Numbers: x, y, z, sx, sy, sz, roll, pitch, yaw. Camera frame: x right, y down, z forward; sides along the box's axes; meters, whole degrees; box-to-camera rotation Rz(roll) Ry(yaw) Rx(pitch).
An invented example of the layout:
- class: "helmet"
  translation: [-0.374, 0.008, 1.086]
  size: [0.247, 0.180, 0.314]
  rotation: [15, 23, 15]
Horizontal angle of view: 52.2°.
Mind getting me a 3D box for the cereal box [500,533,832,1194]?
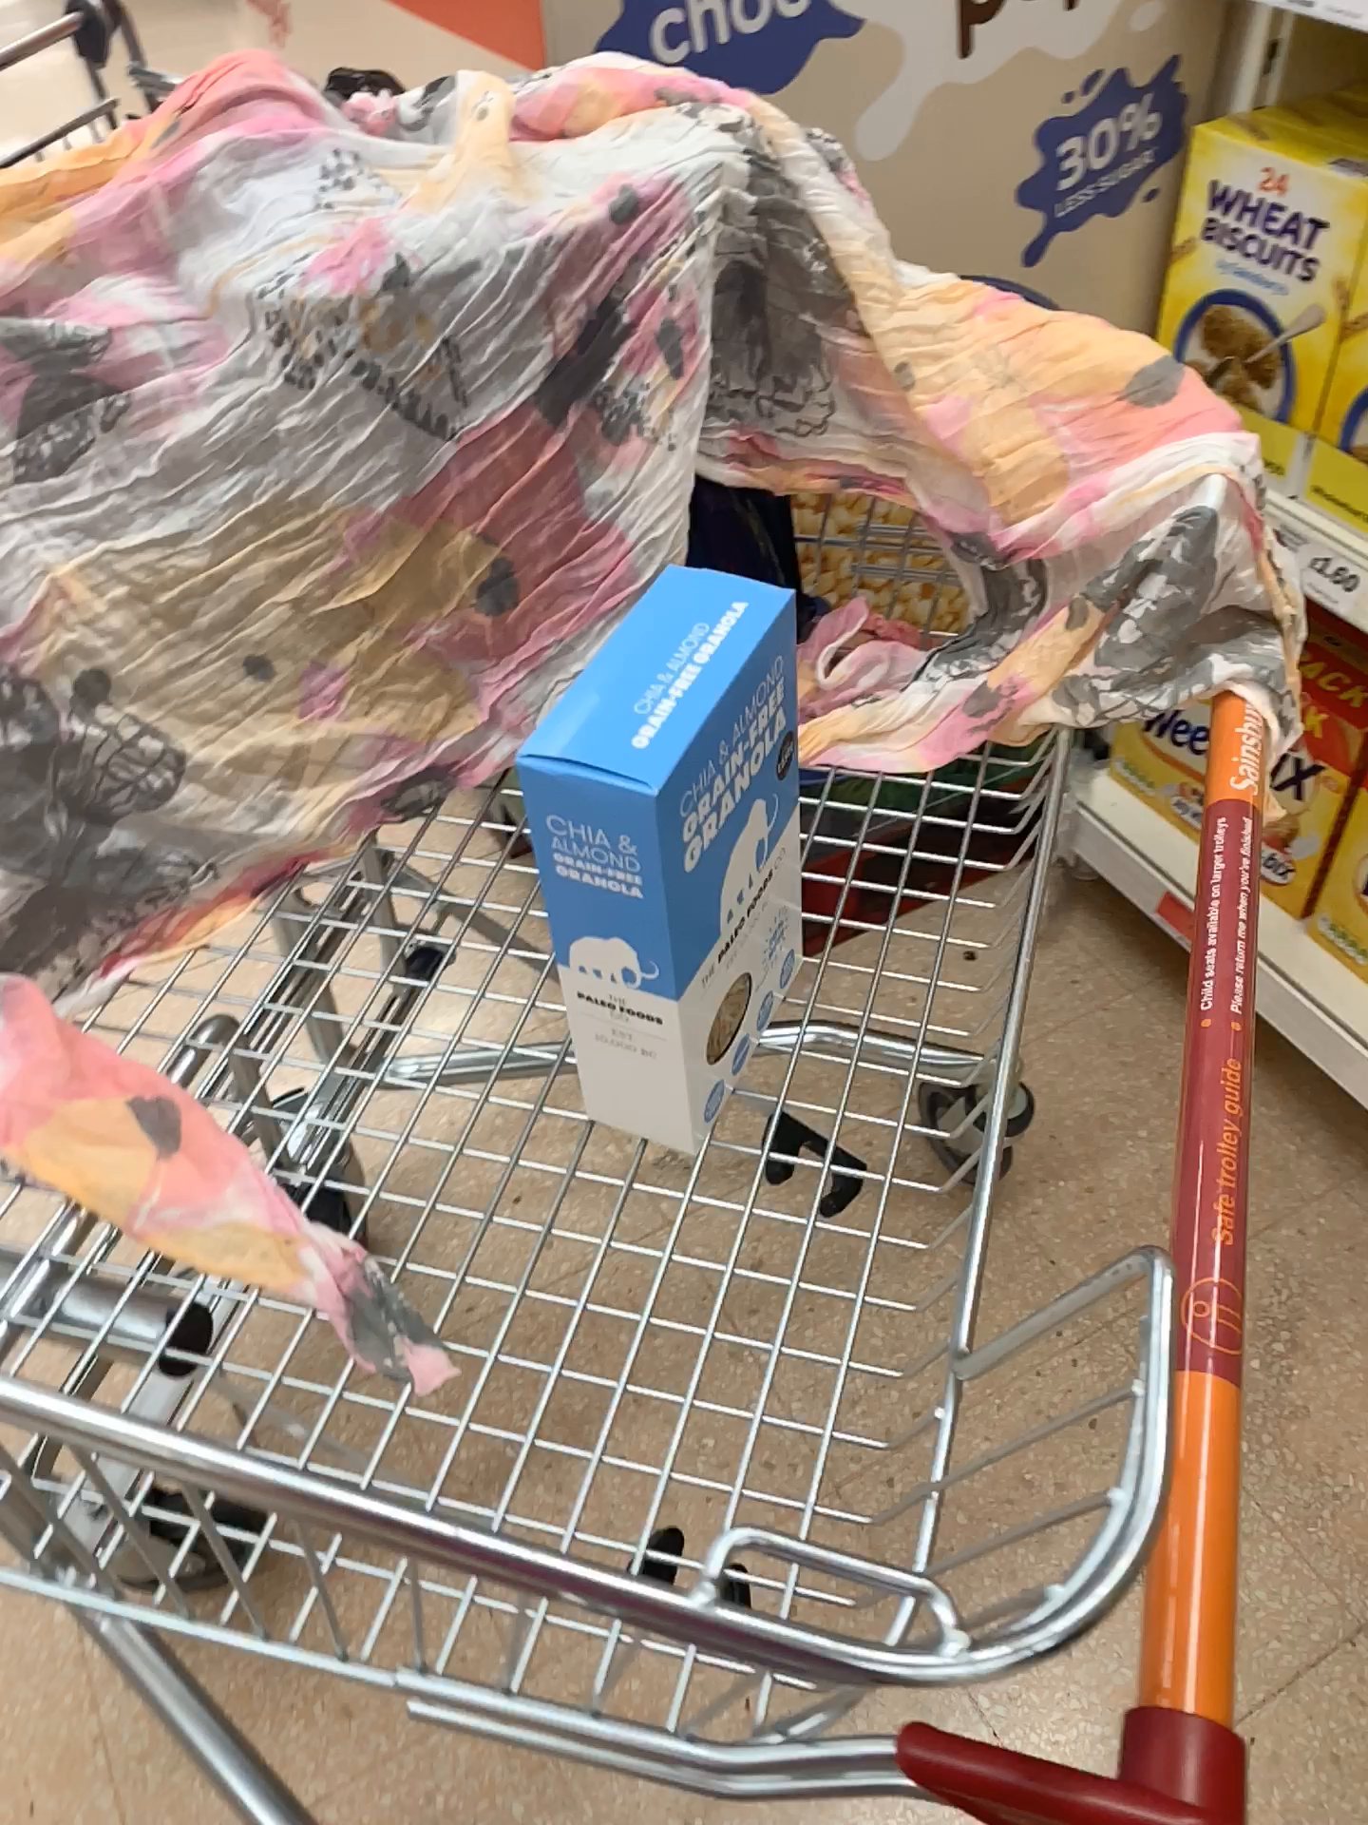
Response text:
- class: "cereal box"
  translation: [0.004, -0.015, 0.543]
  size: [0.060, 0.208, 0.141]
  rotation: [15, 47, 19]
